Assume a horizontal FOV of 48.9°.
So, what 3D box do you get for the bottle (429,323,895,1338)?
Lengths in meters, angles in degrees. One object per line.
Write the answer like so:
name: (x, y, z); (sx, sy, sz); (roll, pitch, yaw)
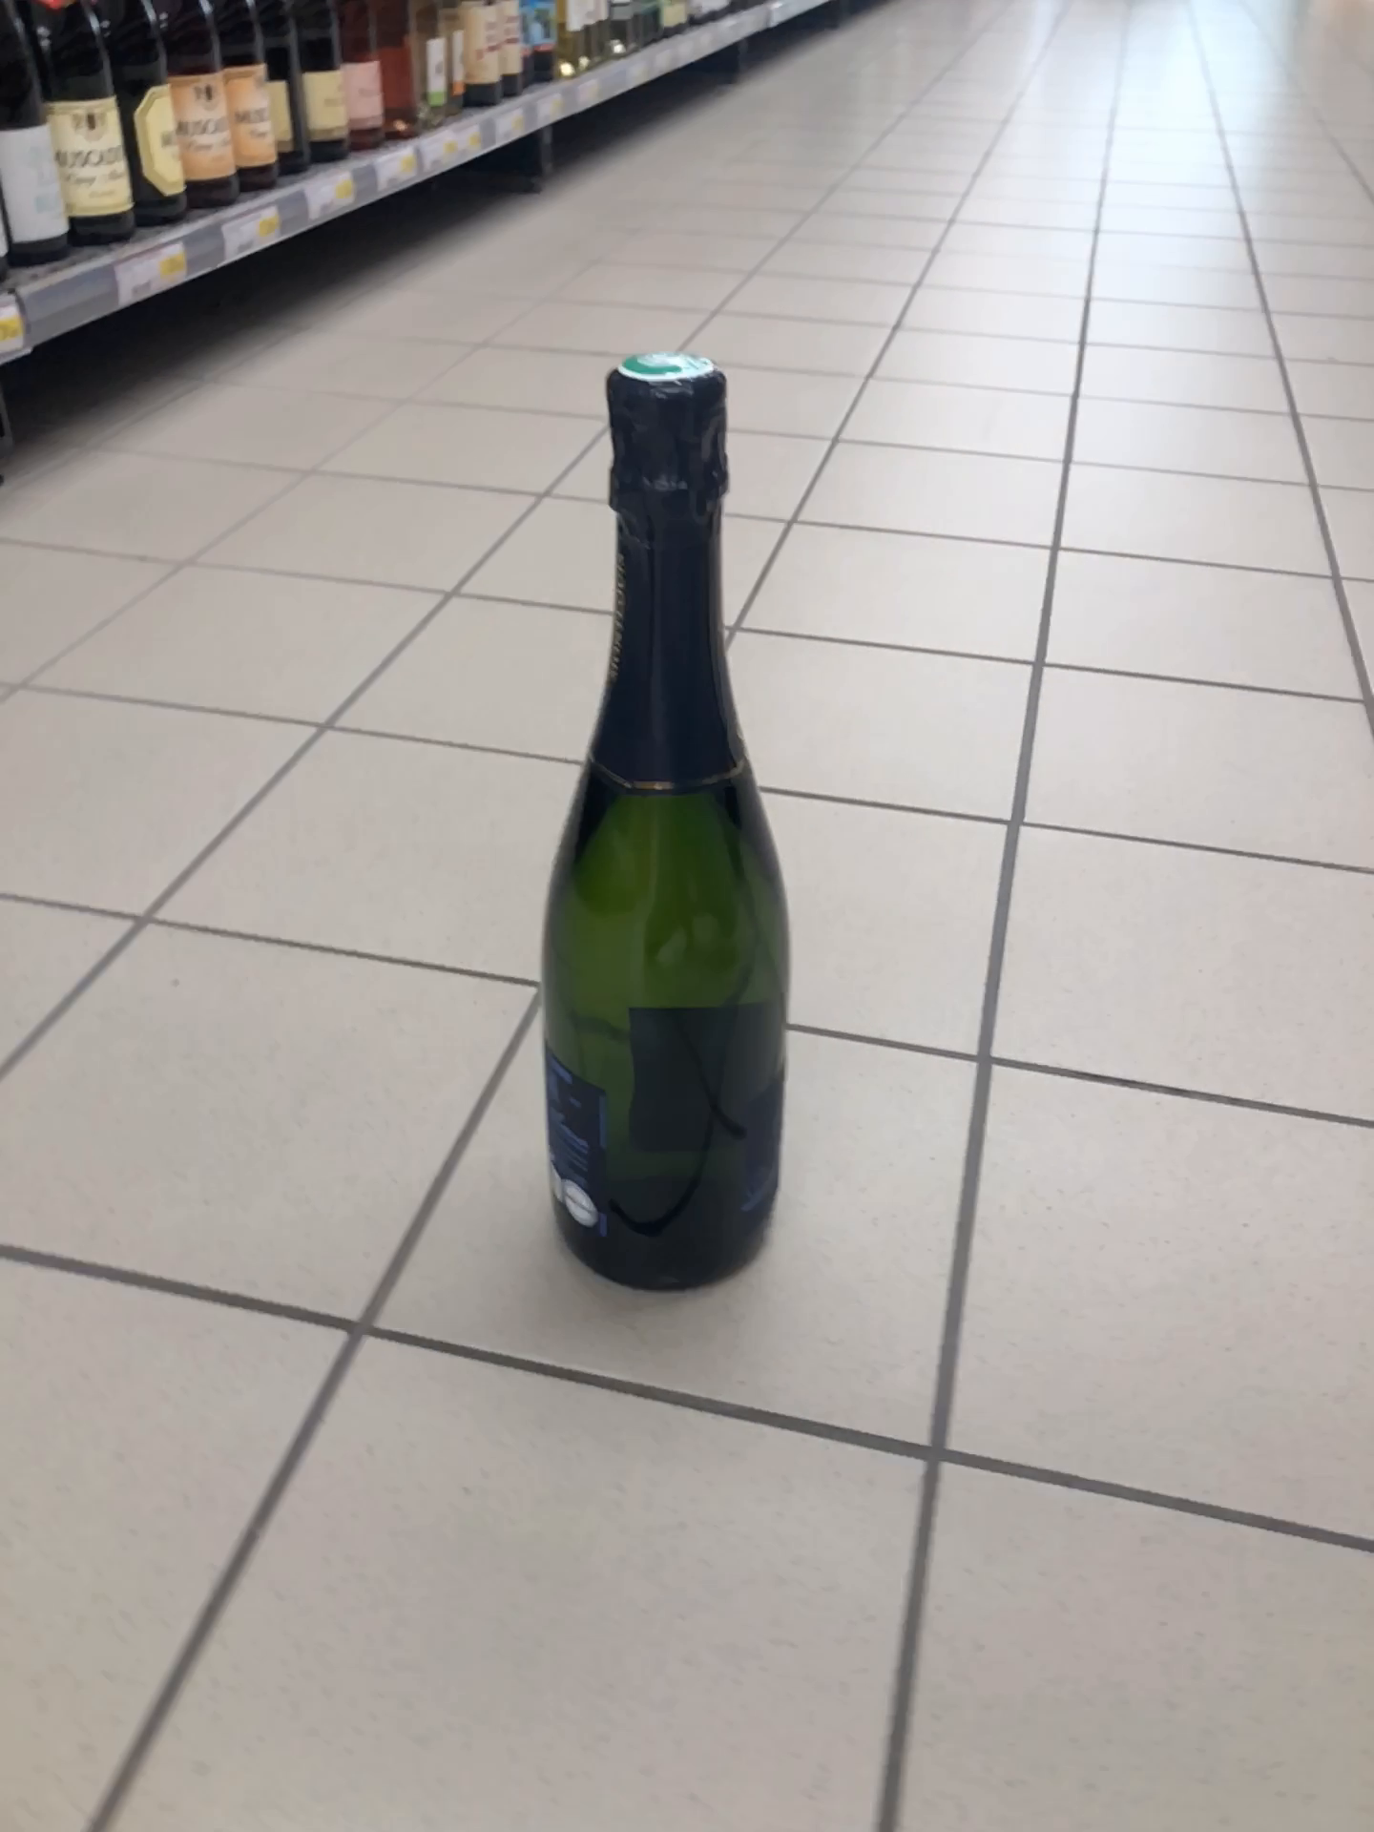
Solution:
bottle: (-0.011, -0.017, 0.492); (0.090, 0.308, 0.090); (1, 34, -1)
